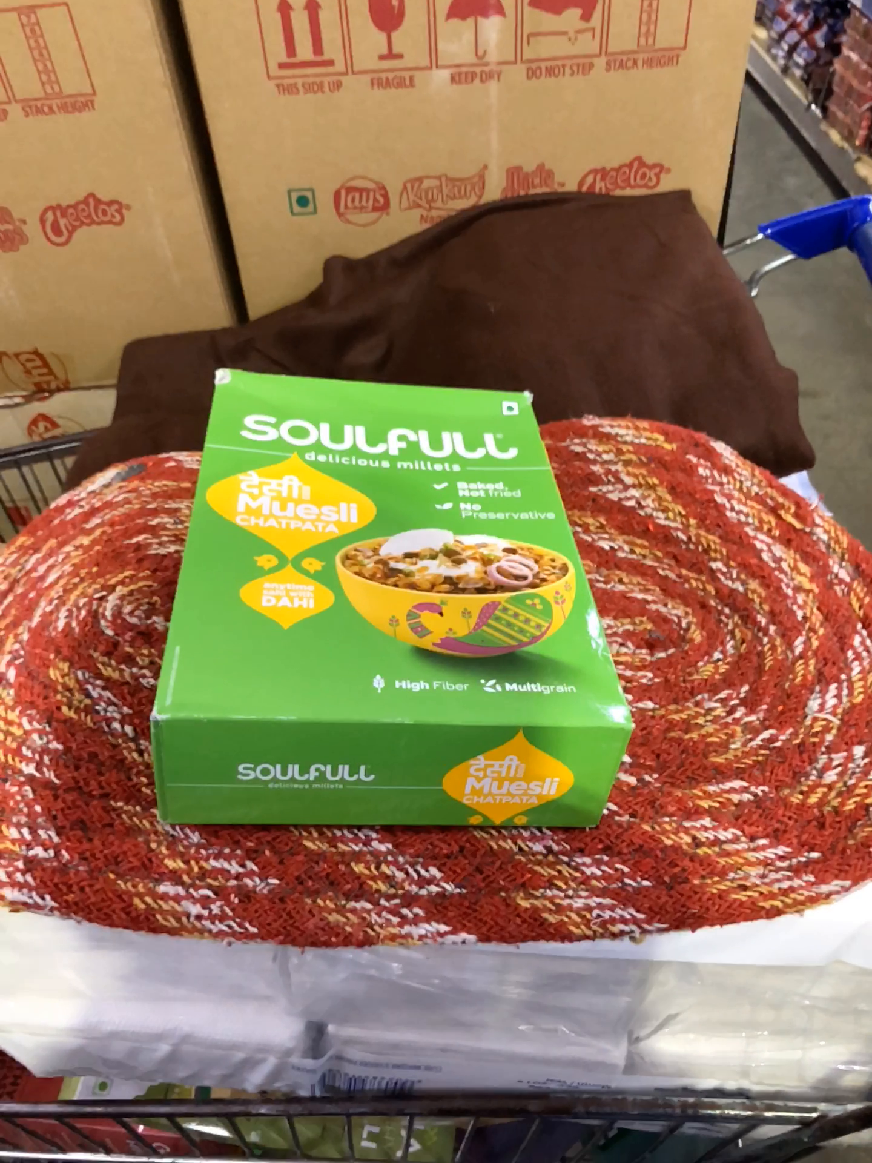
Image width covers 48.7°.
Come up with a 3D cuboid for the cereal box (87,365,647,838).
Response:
[{"bbox_3d":[-0.030,-0.009,0.407,0.170,0.060,0.241,2,36,-6],"label":"cereal box"}]
